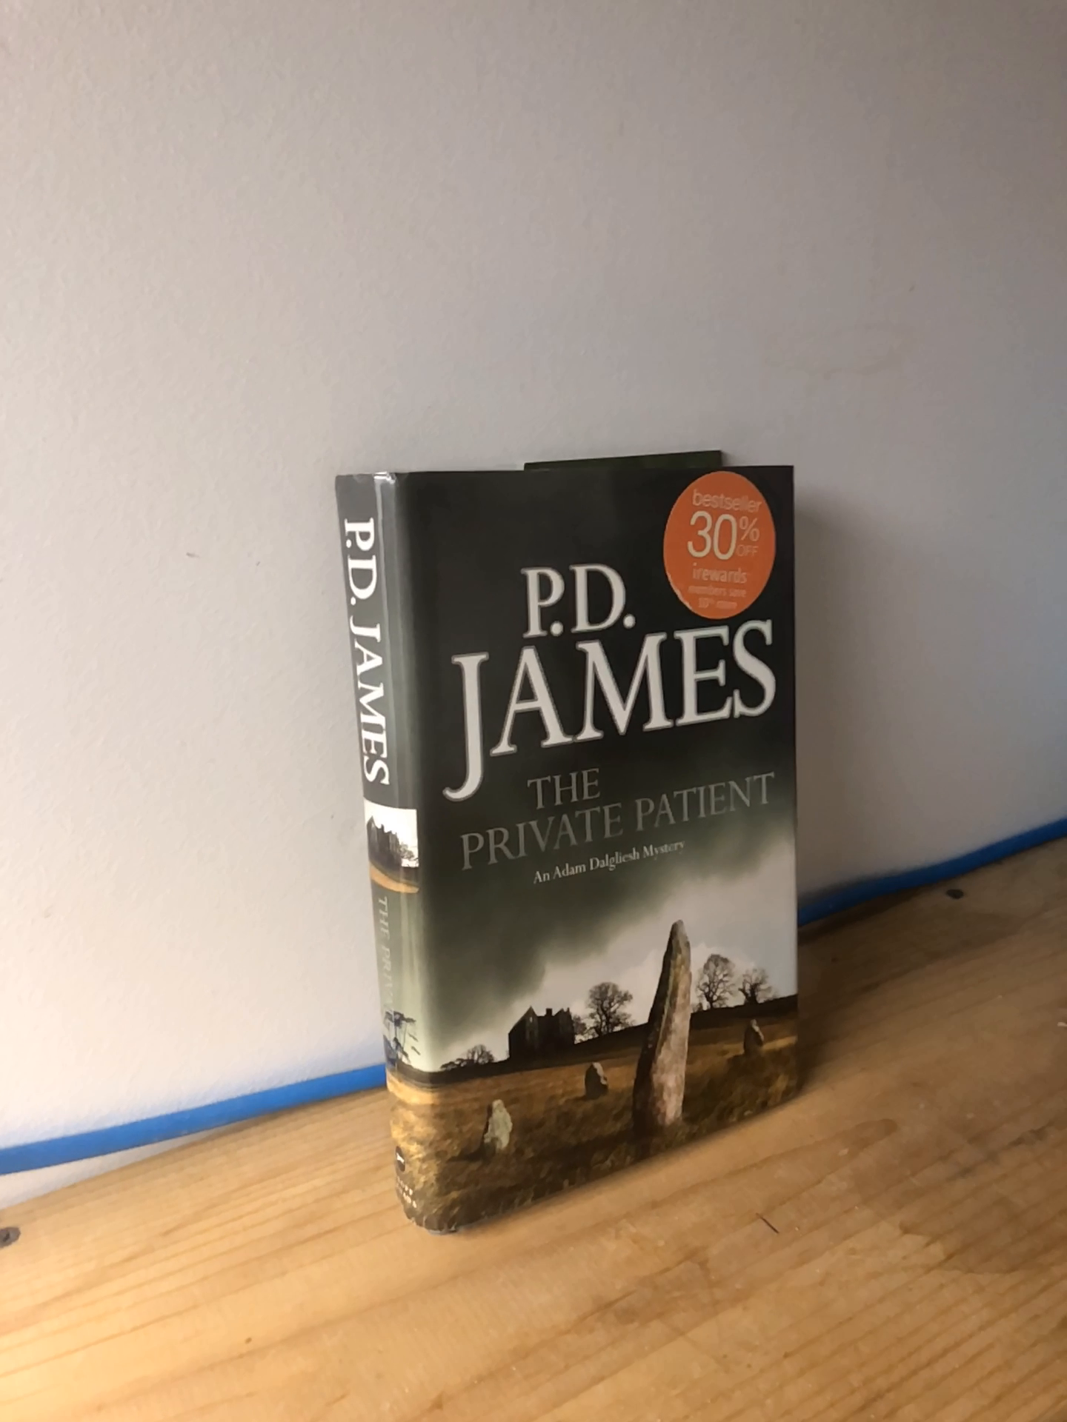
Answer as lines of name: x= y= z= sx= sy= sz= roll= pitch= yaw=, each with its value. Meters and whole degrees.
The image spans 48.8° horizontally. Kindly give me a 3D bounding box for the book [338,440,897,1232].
book: x=0.037 y=0.030 z=0.396 sx=0.180 sy=0.229 sz=0.040 roll=-8 pitch=9 yaw=-26
